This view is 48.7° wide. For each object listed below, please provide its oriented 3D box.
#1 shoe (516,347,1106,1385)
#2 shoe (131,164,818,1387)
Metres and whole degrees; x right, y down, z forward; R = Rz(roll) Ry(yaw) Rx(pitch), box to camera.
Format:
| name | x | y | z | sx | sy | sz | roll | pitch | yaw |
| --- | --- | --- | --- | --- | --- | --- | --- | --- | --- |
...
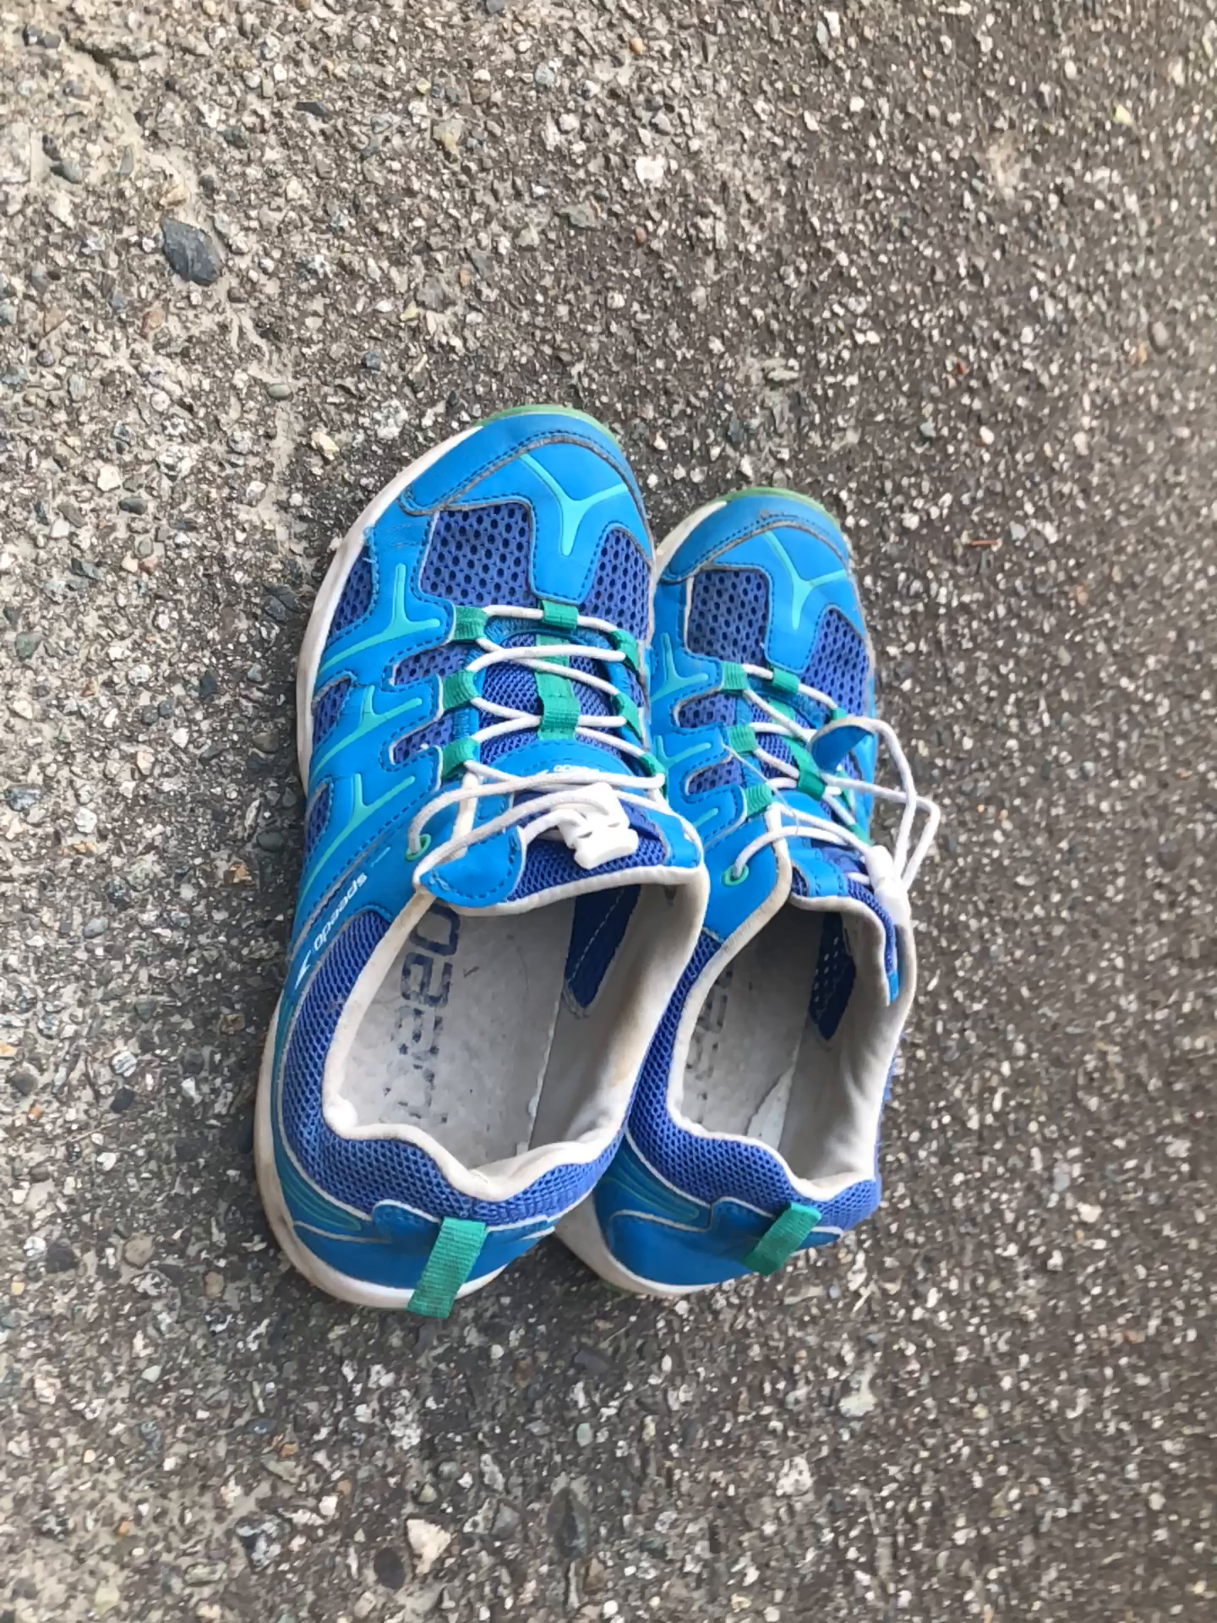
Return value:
| name | x | y | z | sx | sy | sz | roll | pitch | yaw |
| --- | --- | --- | --- | --- | --- | --- | --- | --- | --- |
| shoe | 0.060 | 0.018 | 0.382 | 0.100 | 0.090 | 0.250 | 16 | 78 | -28 |
| shoe | -0.031 | -0.005 | 0.341 | 0.100 | 0.090 | 0.260 | 16 | 78 | -28 |
